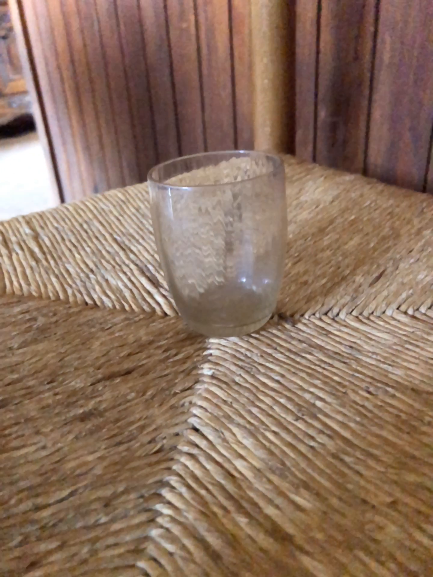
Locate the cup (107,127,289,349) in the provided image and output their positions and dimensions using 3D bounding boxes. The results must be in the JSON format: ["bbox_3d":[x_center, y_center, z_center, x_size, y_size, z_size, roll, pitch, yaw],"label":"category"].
[{"bbox_3d":[-0.007,-0.027,0.236,0.070,0.080,0.070,-4,30,2],"label":"cup"}]
